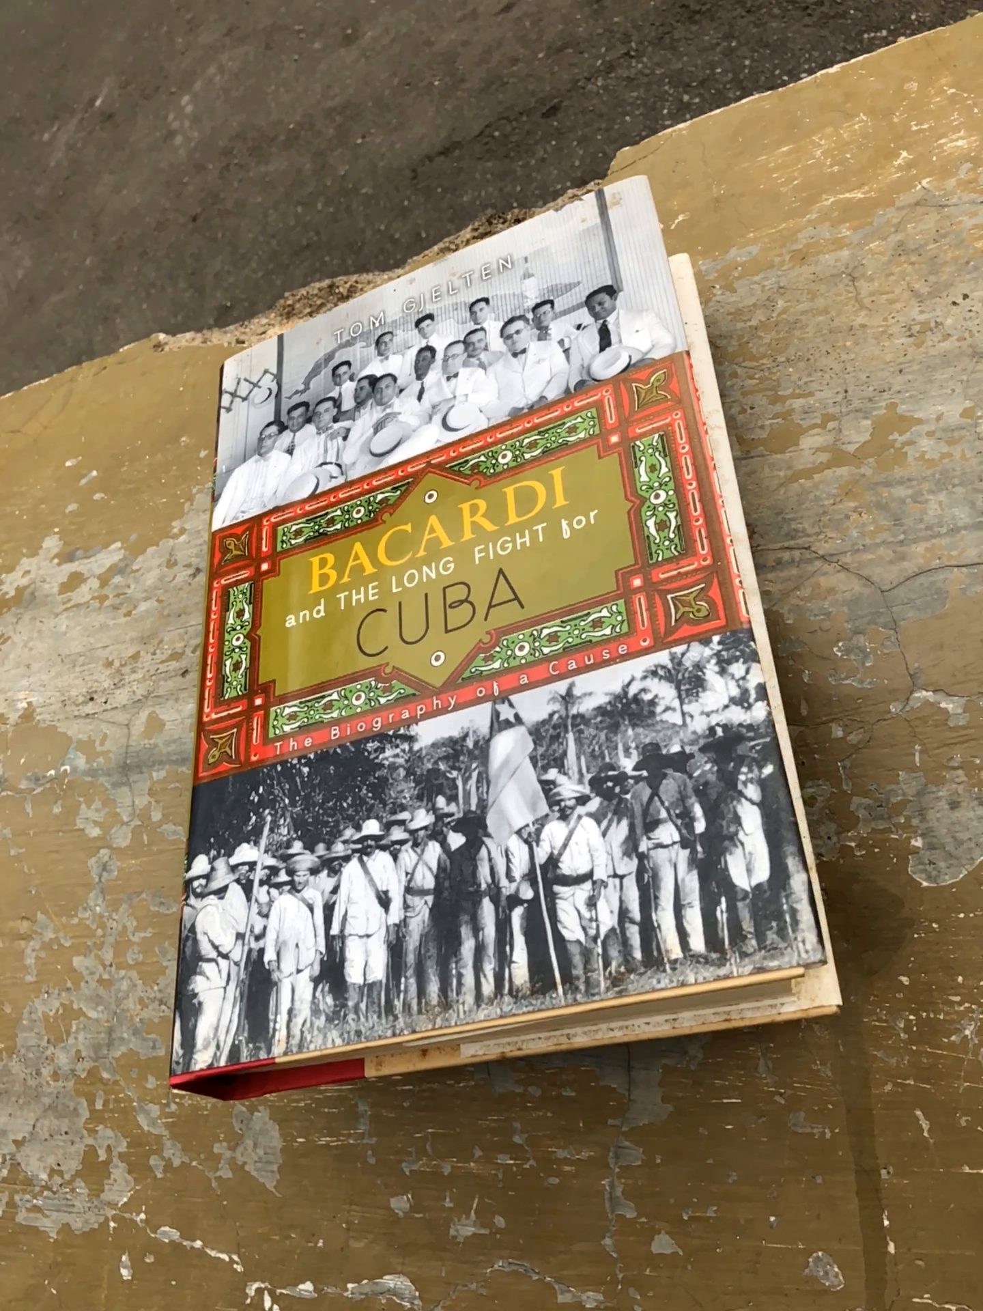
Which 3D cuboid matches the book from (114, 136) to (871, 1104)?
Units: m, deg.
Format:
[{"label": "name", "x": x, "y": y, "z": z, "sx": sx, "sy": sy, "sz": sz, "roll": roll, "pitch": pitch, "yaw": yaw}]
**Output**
[{"label": "book", "x": -0.010, "y": -0.017, "z": 0.317, "sx": 0.170, "sy": 0.050, "sz": 0.250, "roll": -16, "pitch": 57, "yaw": 21}]
